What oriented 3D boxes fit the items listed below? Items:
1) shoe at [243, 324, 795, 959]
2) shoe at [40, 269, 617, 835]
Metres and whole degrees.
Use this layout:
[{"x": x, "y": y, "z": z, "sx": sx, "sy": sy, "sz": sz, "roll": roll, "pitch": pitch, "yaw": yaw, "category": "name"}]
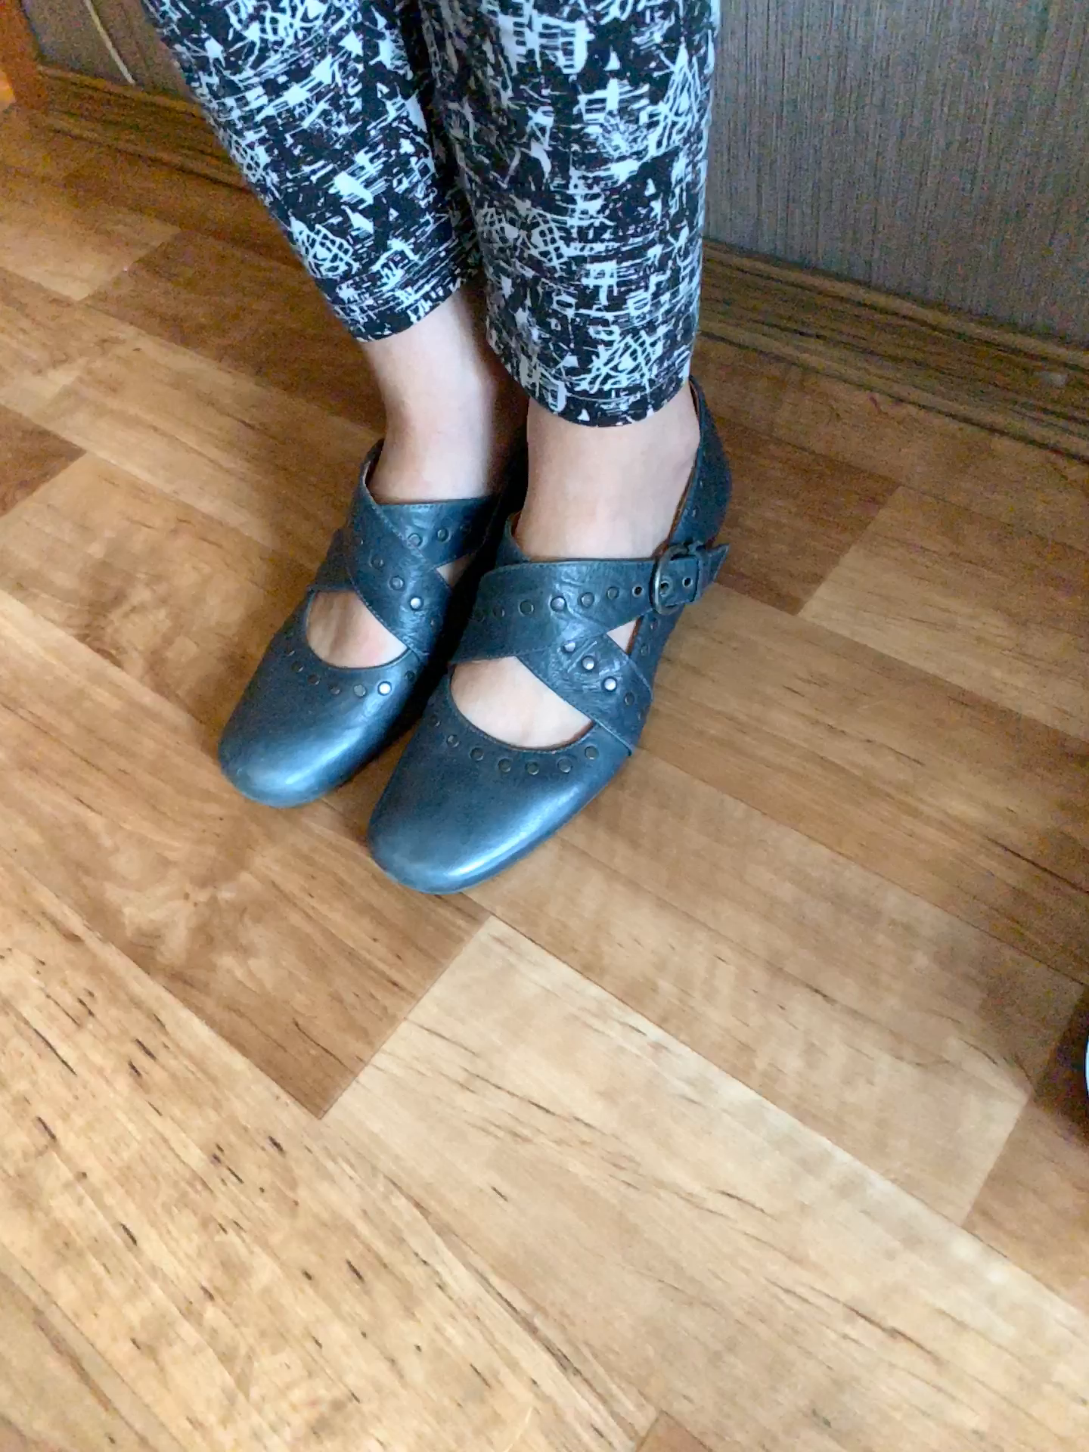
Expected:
[{"x": 0.006, "y": -0.046, "z": 0.467, "sx": 0.090, "sy": 0.100, "sz": 0.250, "roll": 24, "pitch": 60, "yaw": 24, "category": "shoe"}, {"x": -0.078, "y": -0.085, "z": 0.495, "sx": 0.090, "sy": 0.100, "sz": 0.240, "roll": 29, "pitch": 62, "yaw": 27, "category": "shoe"}]
